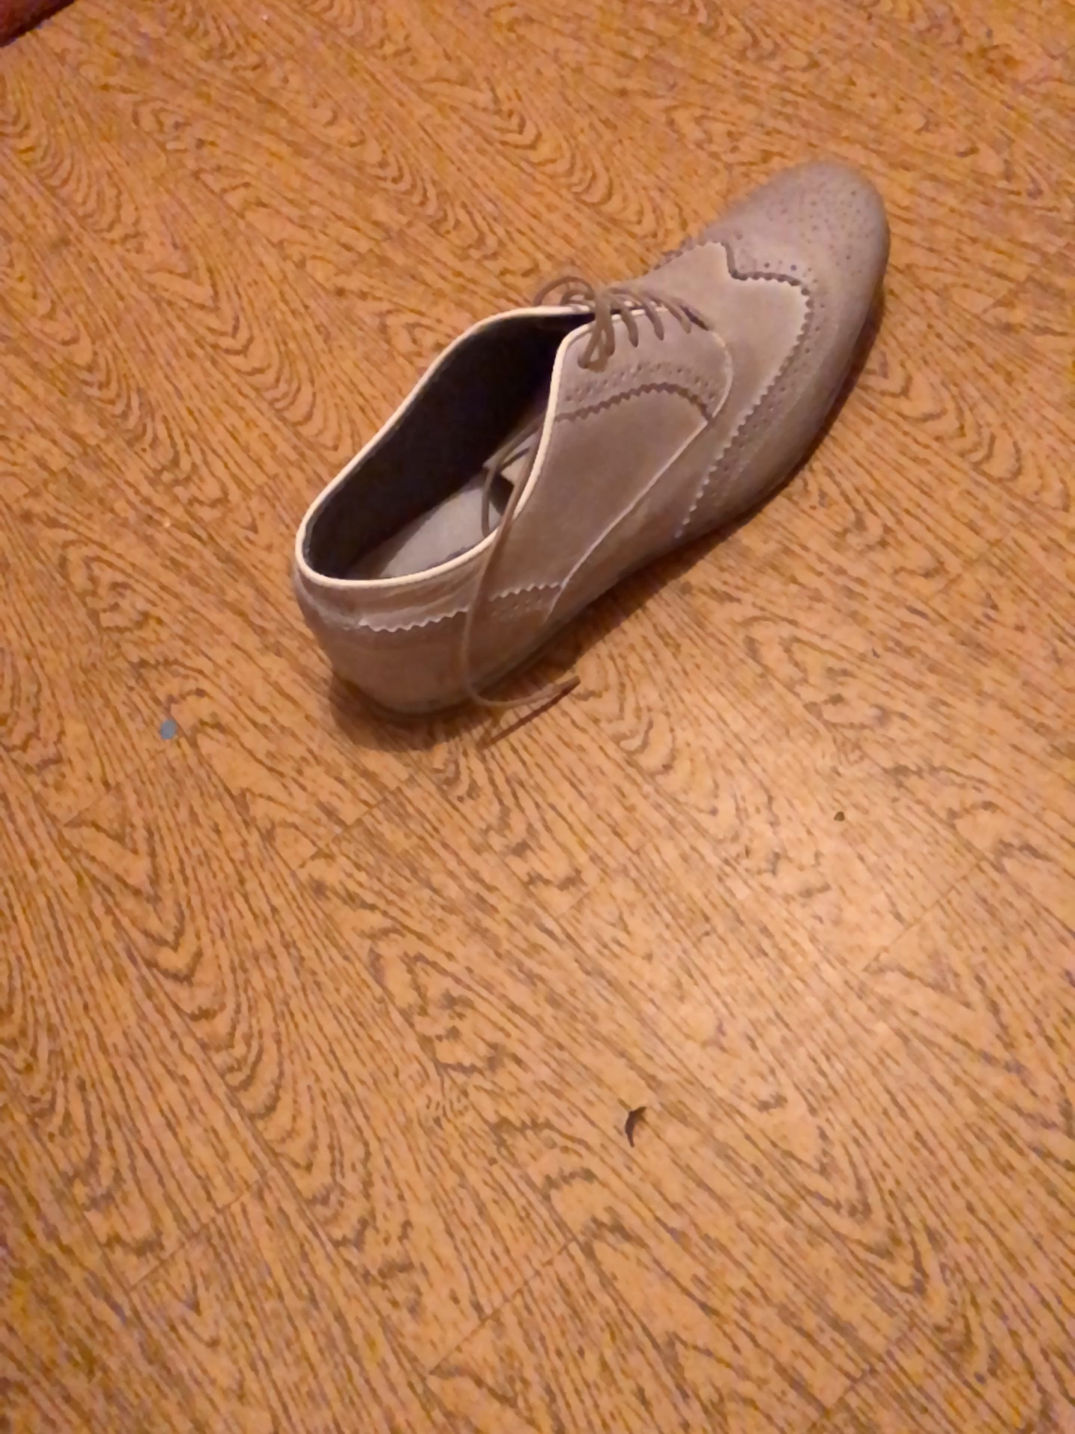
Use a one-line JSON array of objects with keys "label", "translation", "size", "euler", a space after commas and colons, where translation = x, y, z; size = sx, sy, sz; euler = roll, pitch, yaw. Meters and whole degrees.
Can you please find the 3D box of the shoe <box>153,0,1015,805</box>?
[{"label": "shoe", "translation": [0.027, -0.124, 0.449], "size": [0.300, 0.110, 0.110], "euler": [-42, 64, -13]}]
